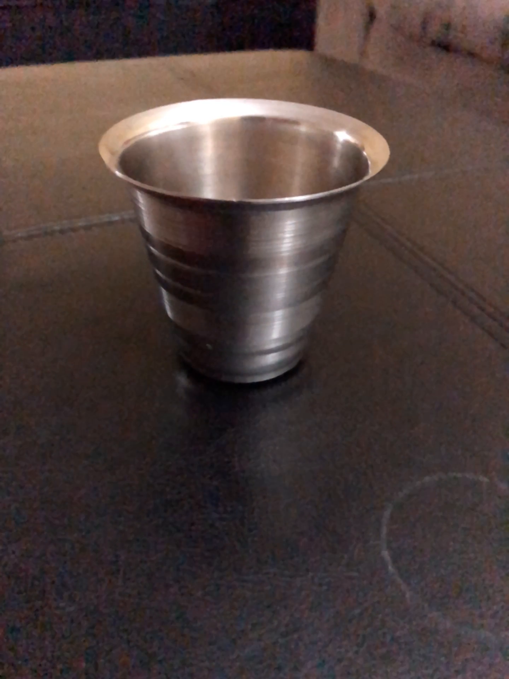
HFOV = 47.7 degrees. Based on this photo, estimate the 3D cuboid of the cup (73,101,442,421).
[{"bbox_3d":[-0.002,-0.025,0.150,0.067,0.052,0.074,1,36,-1],"label":"cup"}]
